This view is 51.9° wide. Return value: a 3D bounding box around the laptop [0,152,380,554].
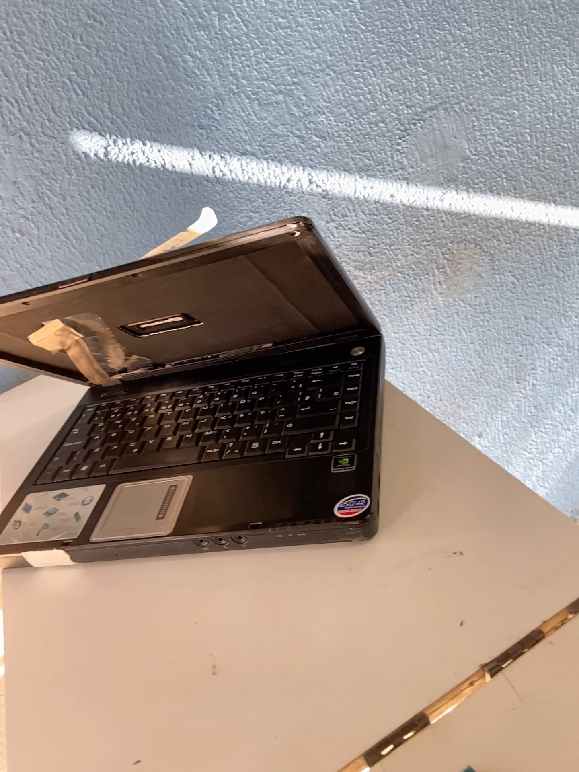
[{"bbox_3d":[-0.113,-0.024,0.480,0.328,0.175,0.225,-10,34,18],"label":"laptop"}]
